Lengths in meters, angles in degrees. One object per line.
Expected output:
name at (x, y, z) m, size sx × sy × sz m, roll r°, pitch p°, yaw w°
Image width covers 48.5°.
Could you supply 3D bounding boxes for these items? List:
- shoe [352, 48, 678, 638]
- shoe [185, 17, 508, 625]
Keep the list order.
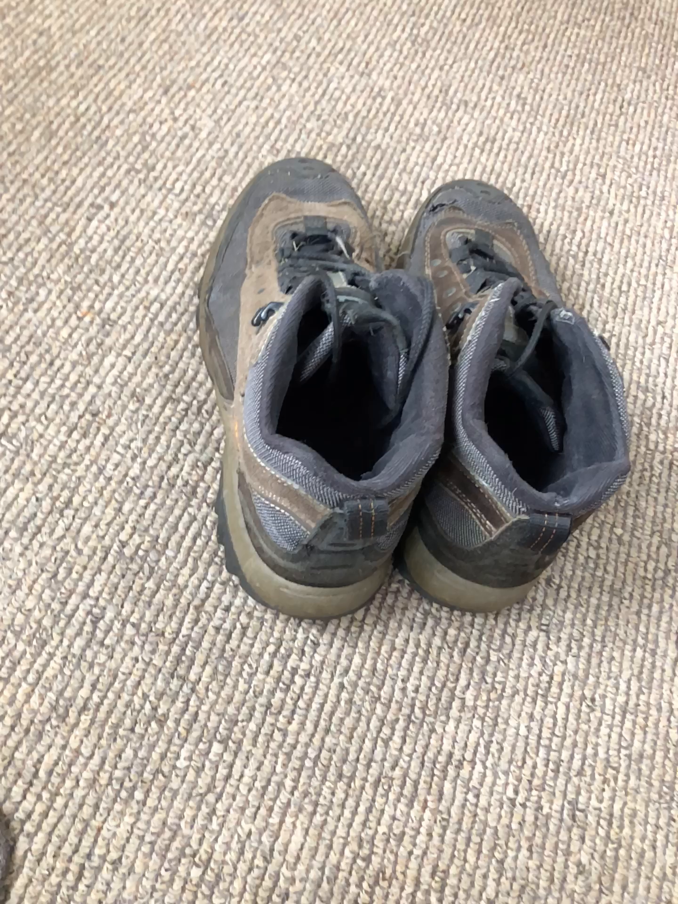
shoe at (0.096, -0.061, 0.419) m, size 0.118 × 0.137 × 0.280 m, roll 12°, pitch 61°, yaw -8°
shoe at (-0.016, -0.066, 0.394) m, size 0.116 × 0.135 × 0.280 m, roll 2°, pitch 63°, yaw -13°
